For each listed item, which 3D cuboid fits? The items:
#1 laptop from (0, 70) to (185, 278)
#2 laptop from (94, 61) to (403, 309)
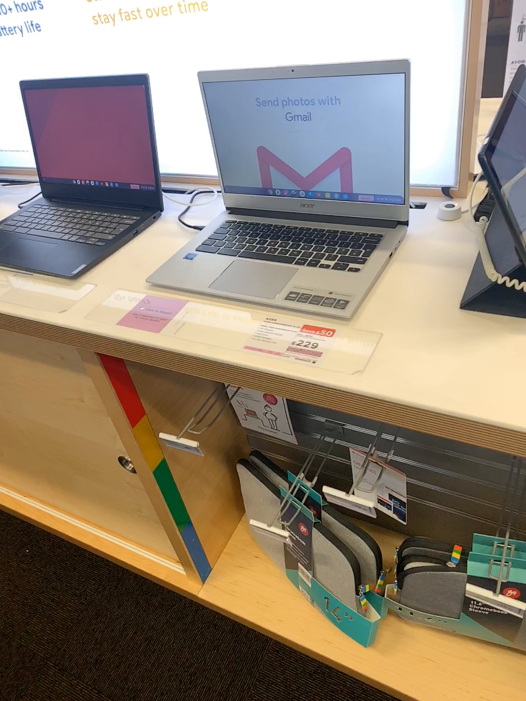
[{"bbox_3d":[-0.365,-0.310,0.908,0.308,0.204,0.284,14,46,28],"label":"laptop"},{"bbox_3d":[0.003,-0.229,0.708,0.303,0.206,0.238,11,43,26],"label":"laptop"}]
